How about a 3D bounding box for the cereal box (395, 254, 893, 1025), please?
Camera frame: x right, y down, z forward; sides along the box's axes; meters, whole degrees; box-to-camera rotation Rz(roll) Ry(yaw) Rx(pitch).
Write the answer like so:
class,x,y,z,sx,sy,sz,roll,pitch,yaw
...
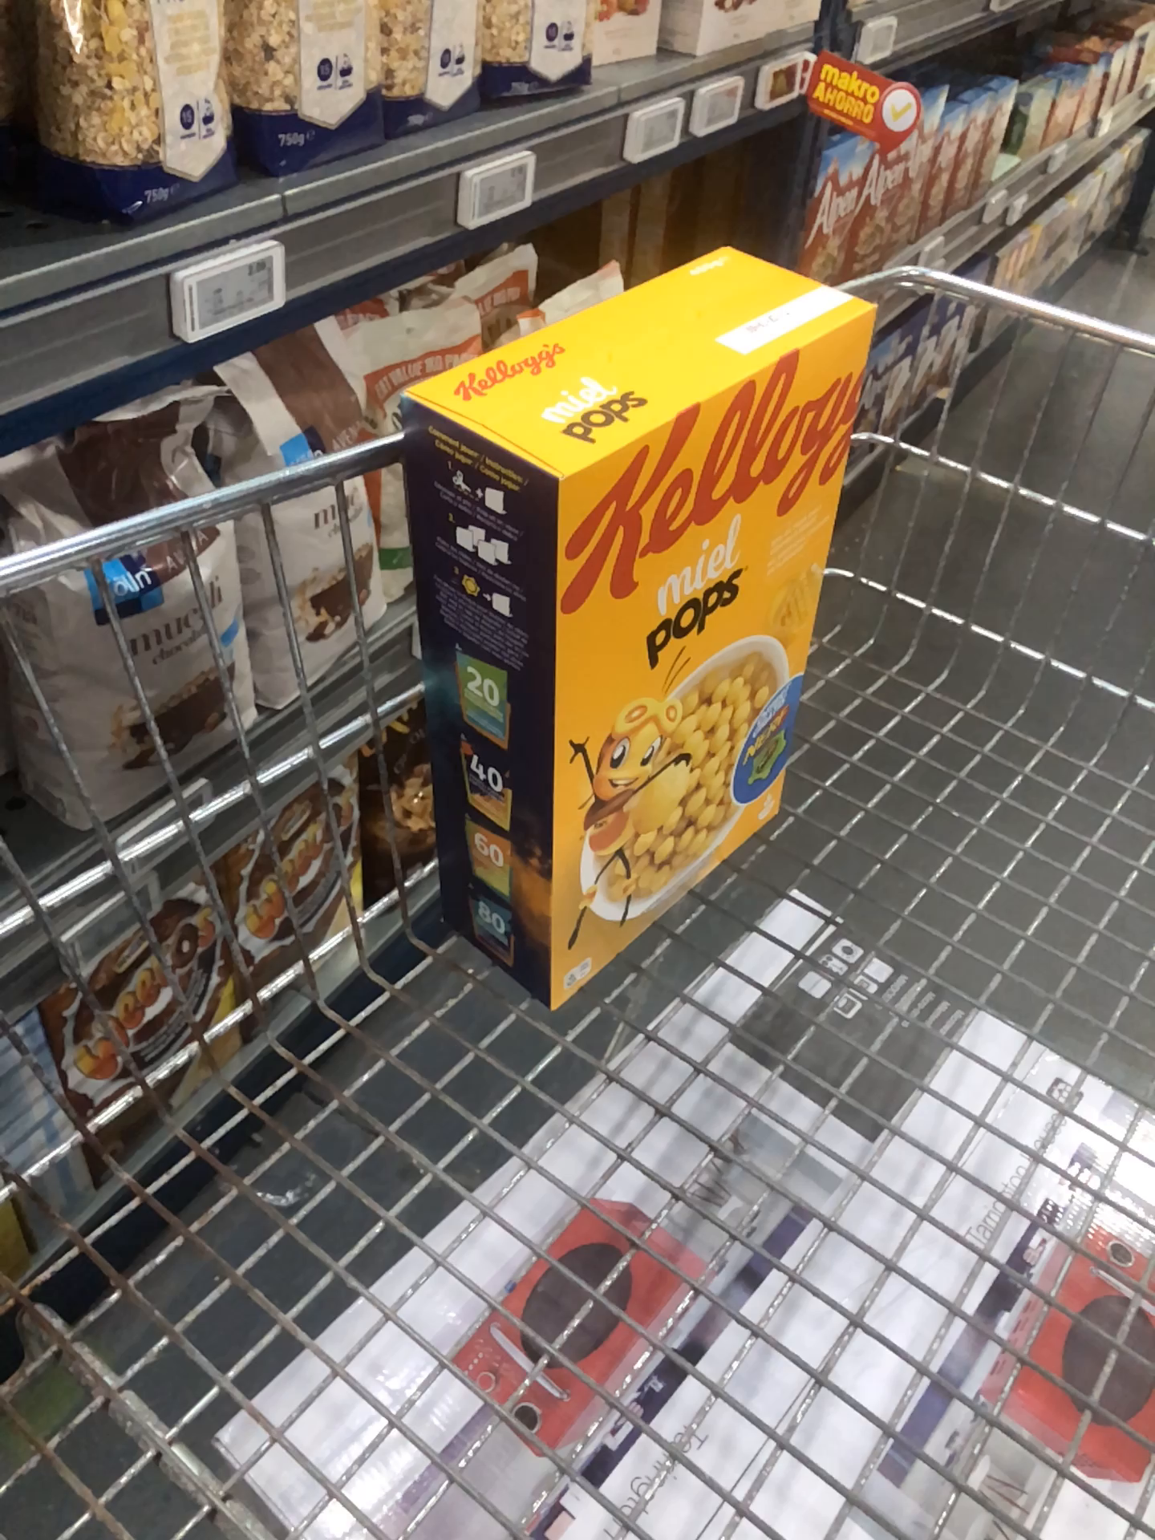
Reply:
class,x,y,z,sx,sy,sz,roll,pitch,yaw
cereal box,0.030,-0.057,0.583,0.090,0.279,0.201,28,48,28
